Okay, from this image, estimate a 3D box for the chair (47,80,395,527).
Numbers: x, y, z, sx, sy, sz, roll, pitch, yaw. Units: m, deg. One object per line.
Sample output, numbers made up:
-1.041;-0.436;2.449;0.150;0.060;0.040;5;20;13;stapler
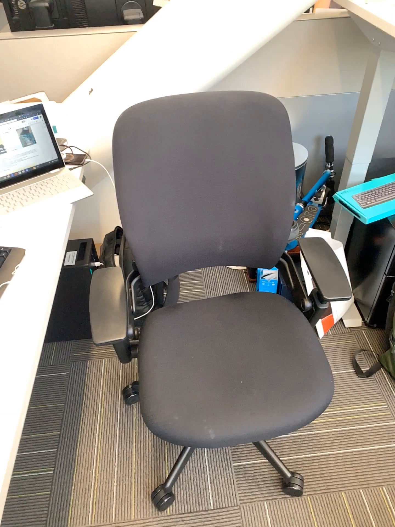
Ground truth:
0.070;0.256;1.279;0.580;1.362;0.634;-5;43;-2;chair
